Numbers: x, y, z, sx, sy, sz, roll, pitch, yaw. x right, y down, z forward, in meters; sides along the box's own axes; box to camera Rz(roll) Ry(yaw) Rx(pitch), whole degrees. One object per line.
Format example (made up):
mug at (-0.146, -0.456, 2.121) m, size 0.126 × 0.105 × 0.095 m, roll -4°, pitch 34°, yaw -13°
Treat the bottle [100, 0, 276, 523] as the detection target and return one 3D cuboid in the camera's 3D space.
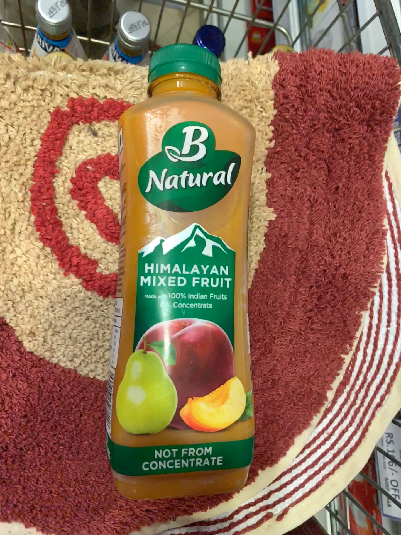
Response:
bottle at (-0.010, -0.012, 0.214) m, size 0.070 × 0.070 × 0.230 m, roll 3°, pitch 81°, yaw -14°
